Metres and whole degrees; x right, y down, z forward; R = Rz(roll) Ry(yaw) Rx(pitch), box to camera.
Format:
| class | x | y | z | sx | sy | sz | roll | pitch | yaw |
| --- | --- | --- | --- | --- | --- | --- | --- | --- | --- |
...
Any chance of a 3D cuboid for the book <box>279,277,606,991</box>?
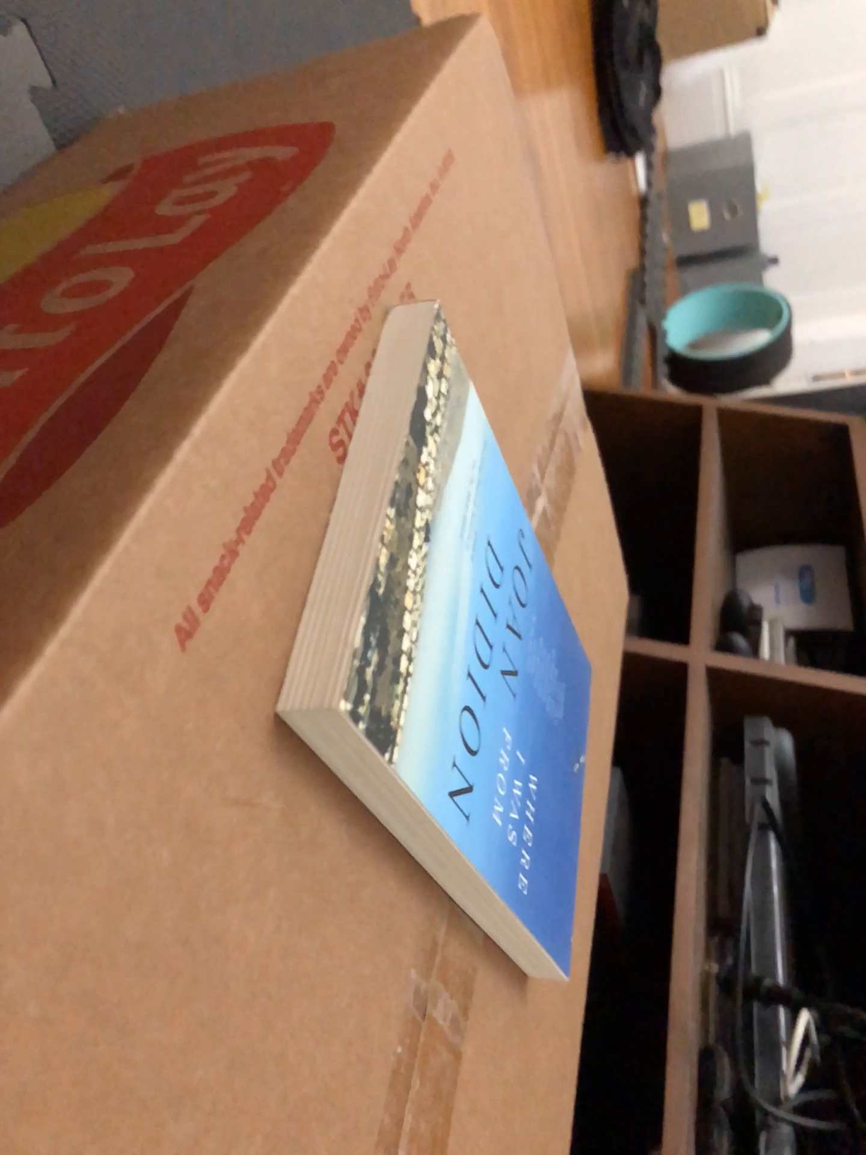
| class | x | y | z | sx | sy | sz | roll | pitch | yaw |
| --- | --- | --- | --- | --- | --- | --- | --- | --- | --- |
| book | 0.023 | 0.033 | 0.315 | 0.210 | 0.020 | 0.140 | 60 | 32 | -48 |
